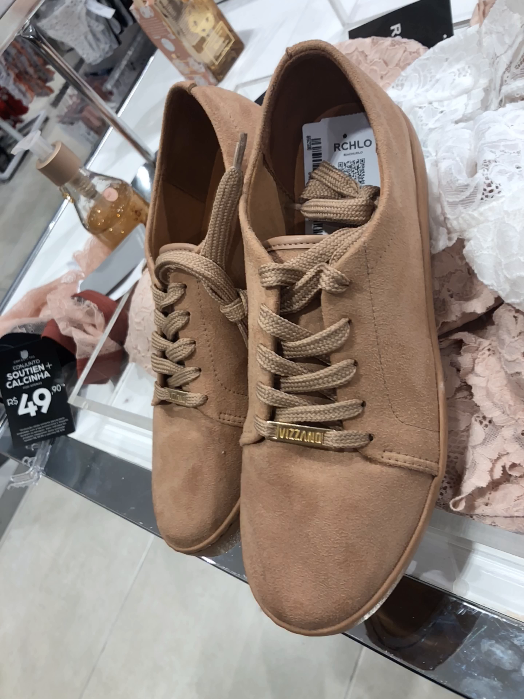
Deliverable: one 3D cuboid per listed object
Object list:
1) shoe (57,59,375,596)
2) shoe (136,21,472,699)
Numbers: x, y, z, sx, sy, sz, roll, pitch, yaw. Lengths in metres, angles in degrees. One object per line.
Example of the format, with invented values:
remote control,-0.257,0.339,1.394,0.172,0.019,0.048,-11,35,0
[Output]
shoe,-0.020,-0.009,0.322,0.090,0.099,0.240,6,83,41
shoe,0.032,0.007,0.252,0.090,0.100,0.240,2,78,25
